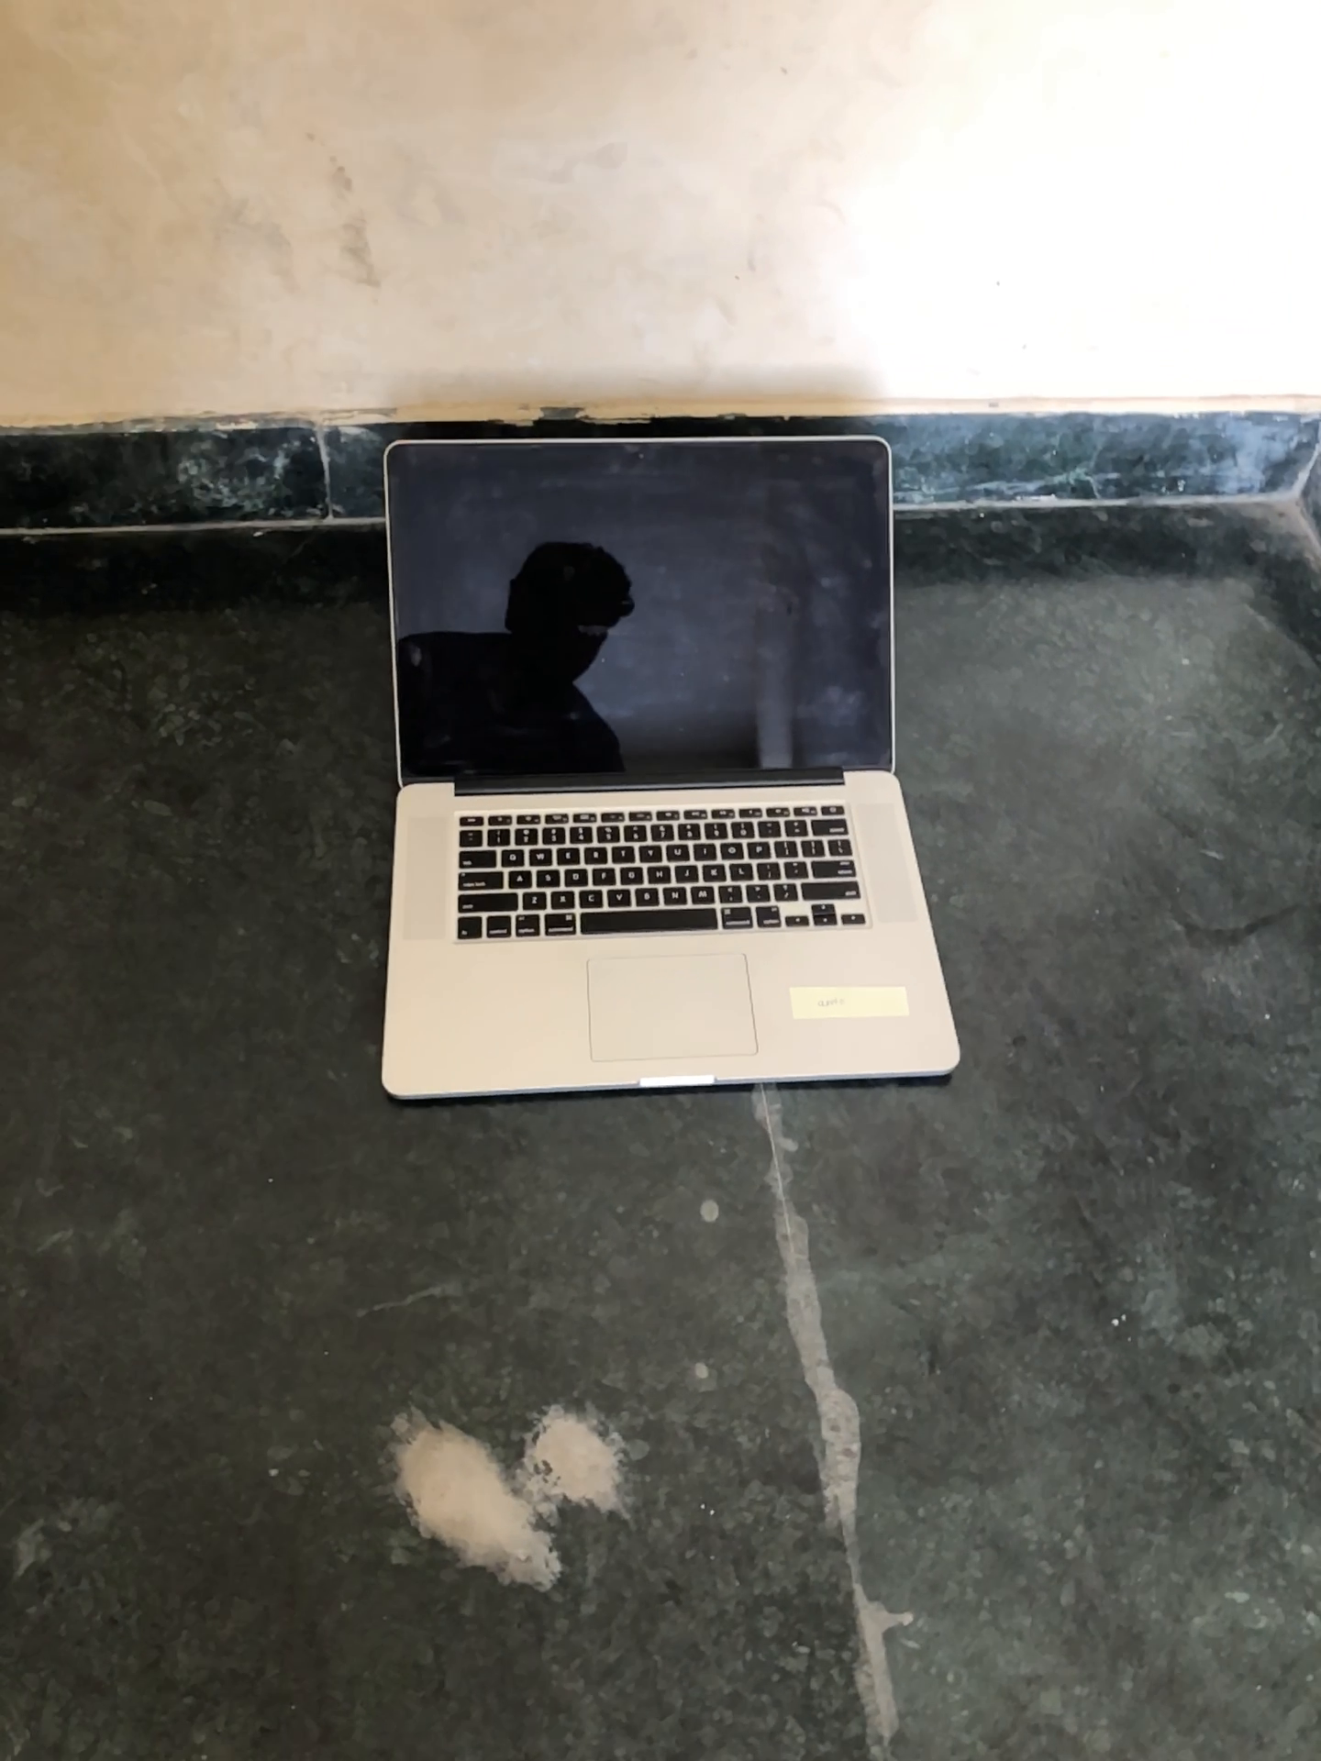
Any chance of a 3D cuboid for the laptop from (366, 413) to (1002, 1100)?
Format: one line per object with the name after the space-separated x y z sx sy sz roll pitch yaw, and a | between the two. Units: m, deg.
-0.001 -0.101 0.944 0.342 0.130 0.435 -2 57 -6 | laptop
